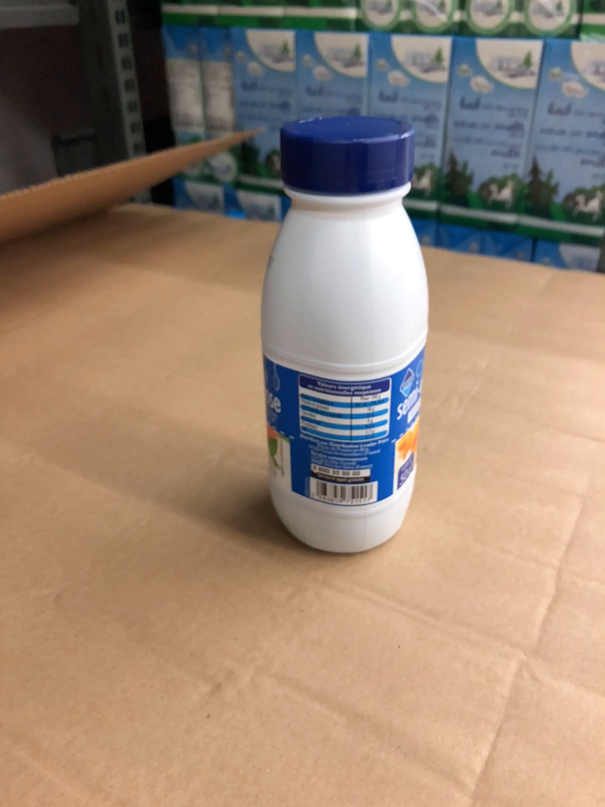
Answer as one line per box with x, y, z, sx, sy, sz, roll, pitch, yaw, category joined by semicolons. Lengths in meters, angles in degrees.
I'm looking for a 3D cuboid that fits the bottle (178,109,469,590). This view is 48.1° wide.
0.012;-0.023;0.279;0.080;0.169;0.081;0;31;0;bottle
